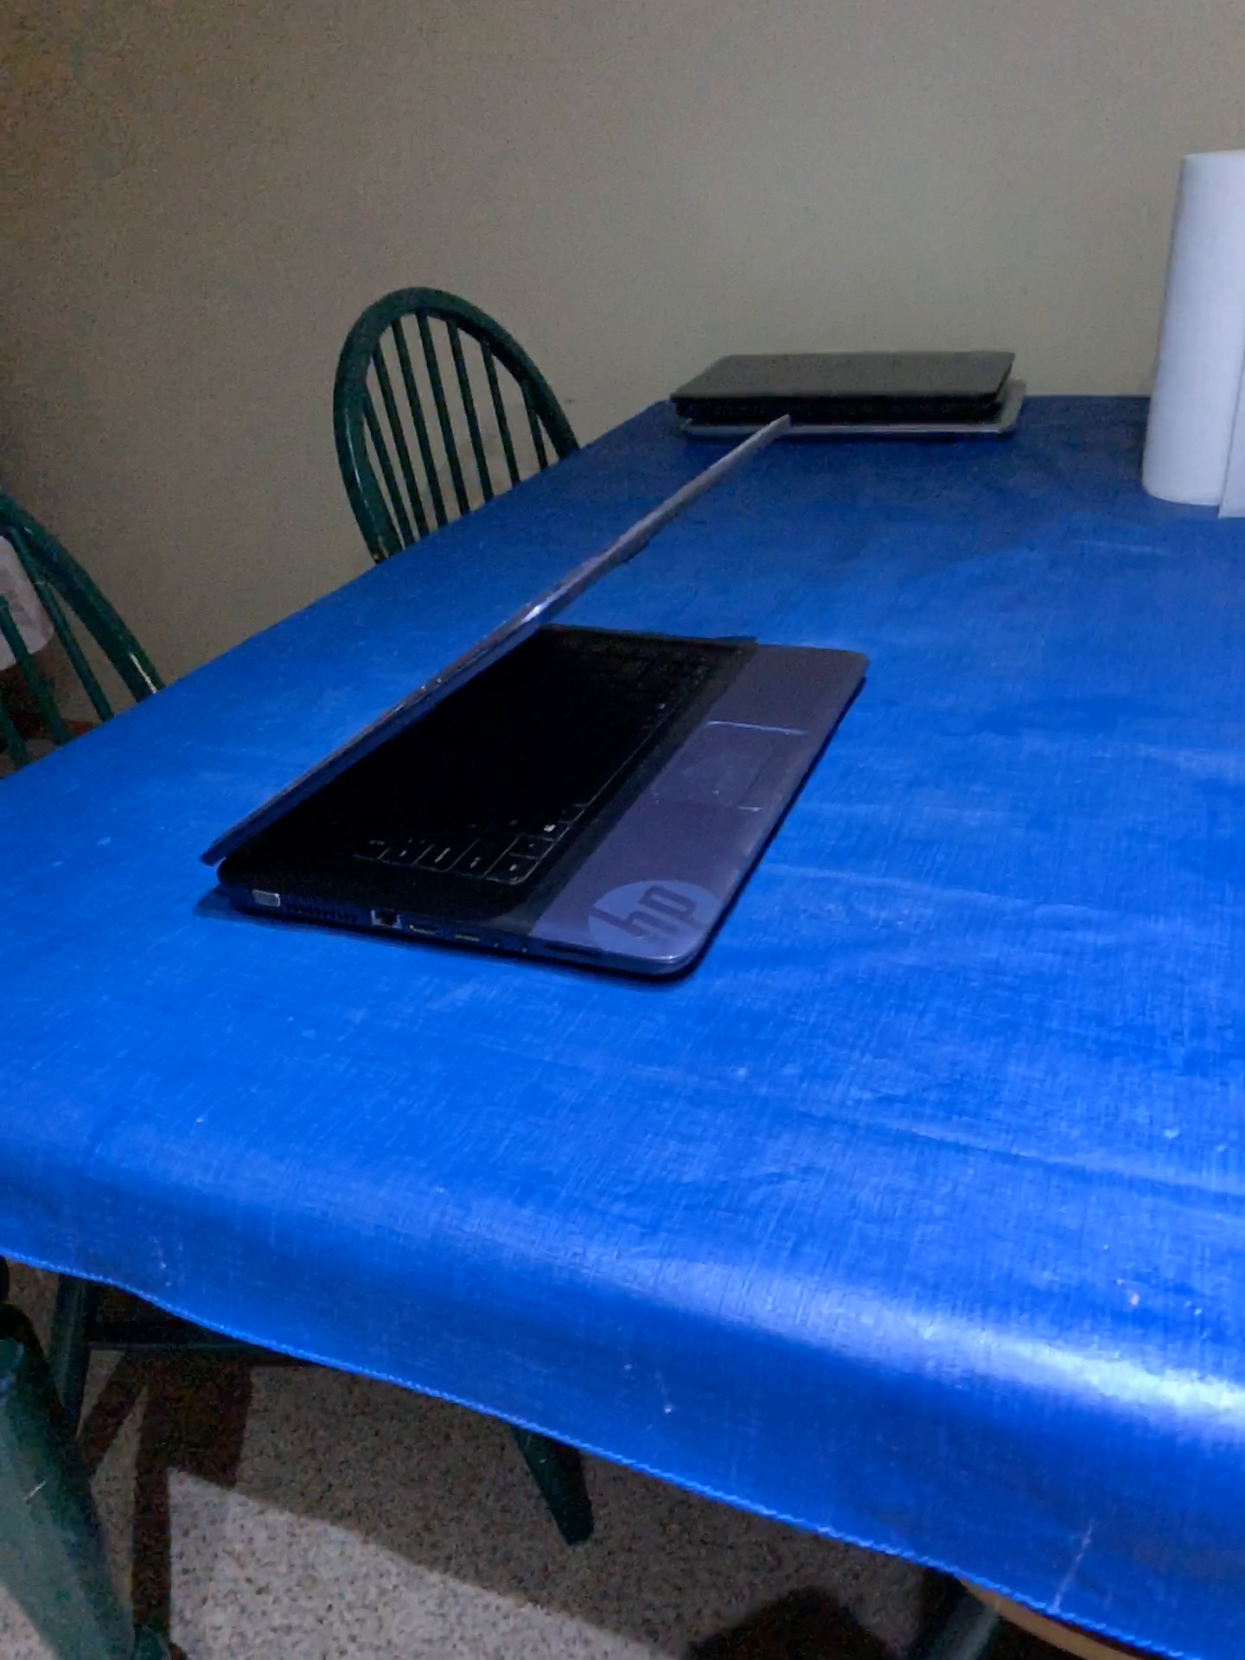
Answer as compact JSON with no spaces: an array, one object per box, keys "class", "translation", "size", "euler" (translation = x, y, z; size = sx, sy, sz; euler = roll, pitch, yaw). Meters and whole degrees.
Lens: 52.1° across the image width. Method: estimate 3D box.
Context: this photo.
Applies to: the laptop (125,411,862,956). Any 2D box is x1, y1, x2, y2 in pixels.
[{"class":"laptop","translation":[-0.031,-0.112,0.686],"size":[0.239,0.141,0.365],"euler":[8,31,20]}]
